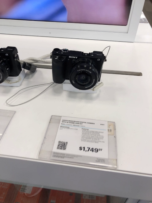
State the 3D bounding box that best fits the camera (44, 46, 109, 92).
[{"bbox_3d":[0.003,-0.074,0.381,0.130,0.070,0.060,6,44,5],"label":"camera"}]
